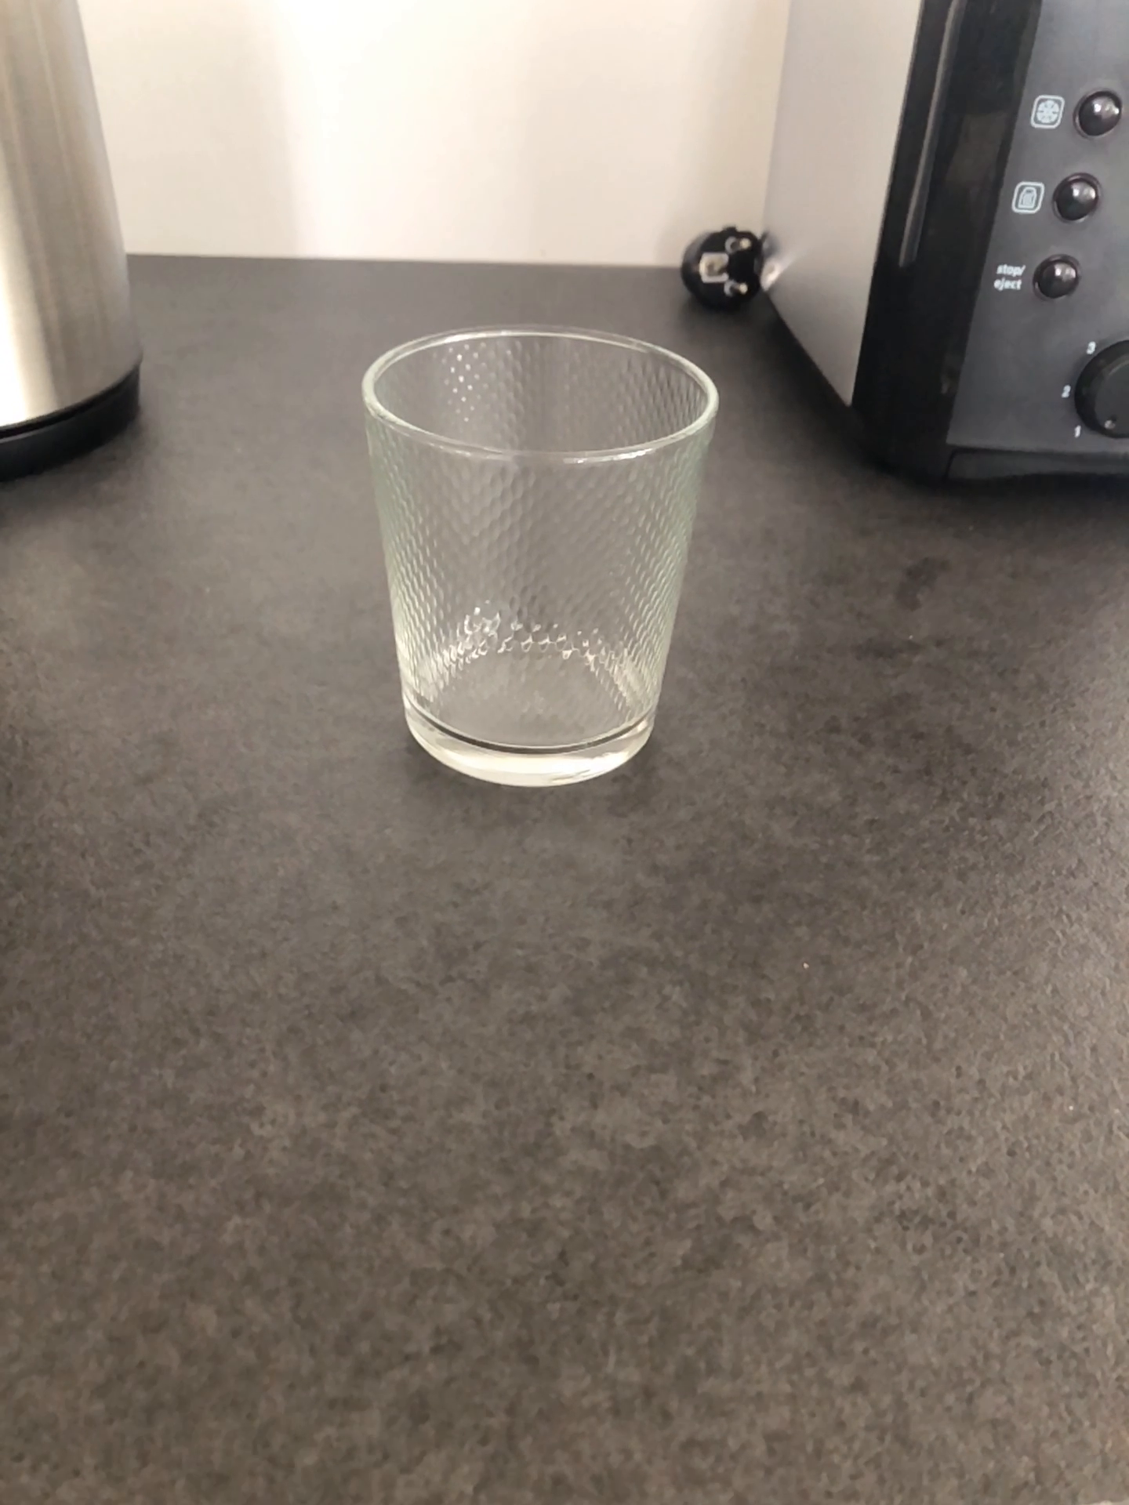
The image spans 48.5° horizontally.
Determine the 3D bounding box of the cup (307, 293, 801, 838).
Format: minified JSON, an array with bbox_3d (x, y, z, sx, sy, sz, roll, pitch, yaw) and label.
[{"bbox_3d":[-0.007,-0.048,0.296,0.080,0.089,0.080,2,35,-1],"label":"cup"}]
